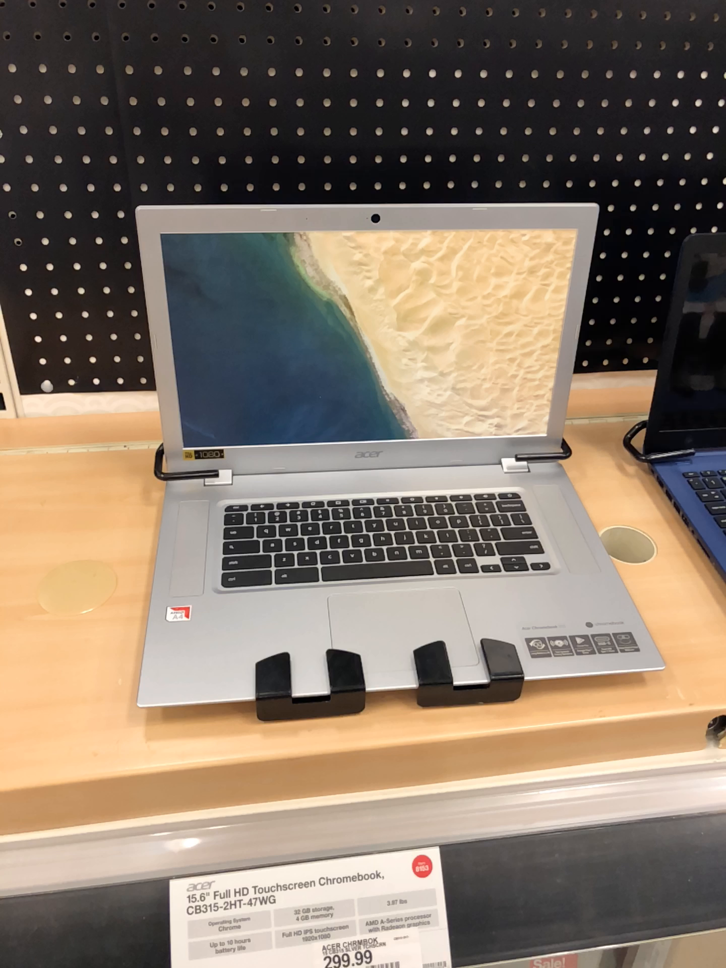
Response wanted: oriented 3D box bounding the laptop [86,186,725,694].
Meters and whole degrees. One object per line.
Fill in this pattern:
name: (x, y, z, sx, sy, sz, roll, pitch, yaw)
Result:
laptop: (0.018, -0.058, 0.621, 0.371, 0.246, 0.287, -3, 33, -6)
